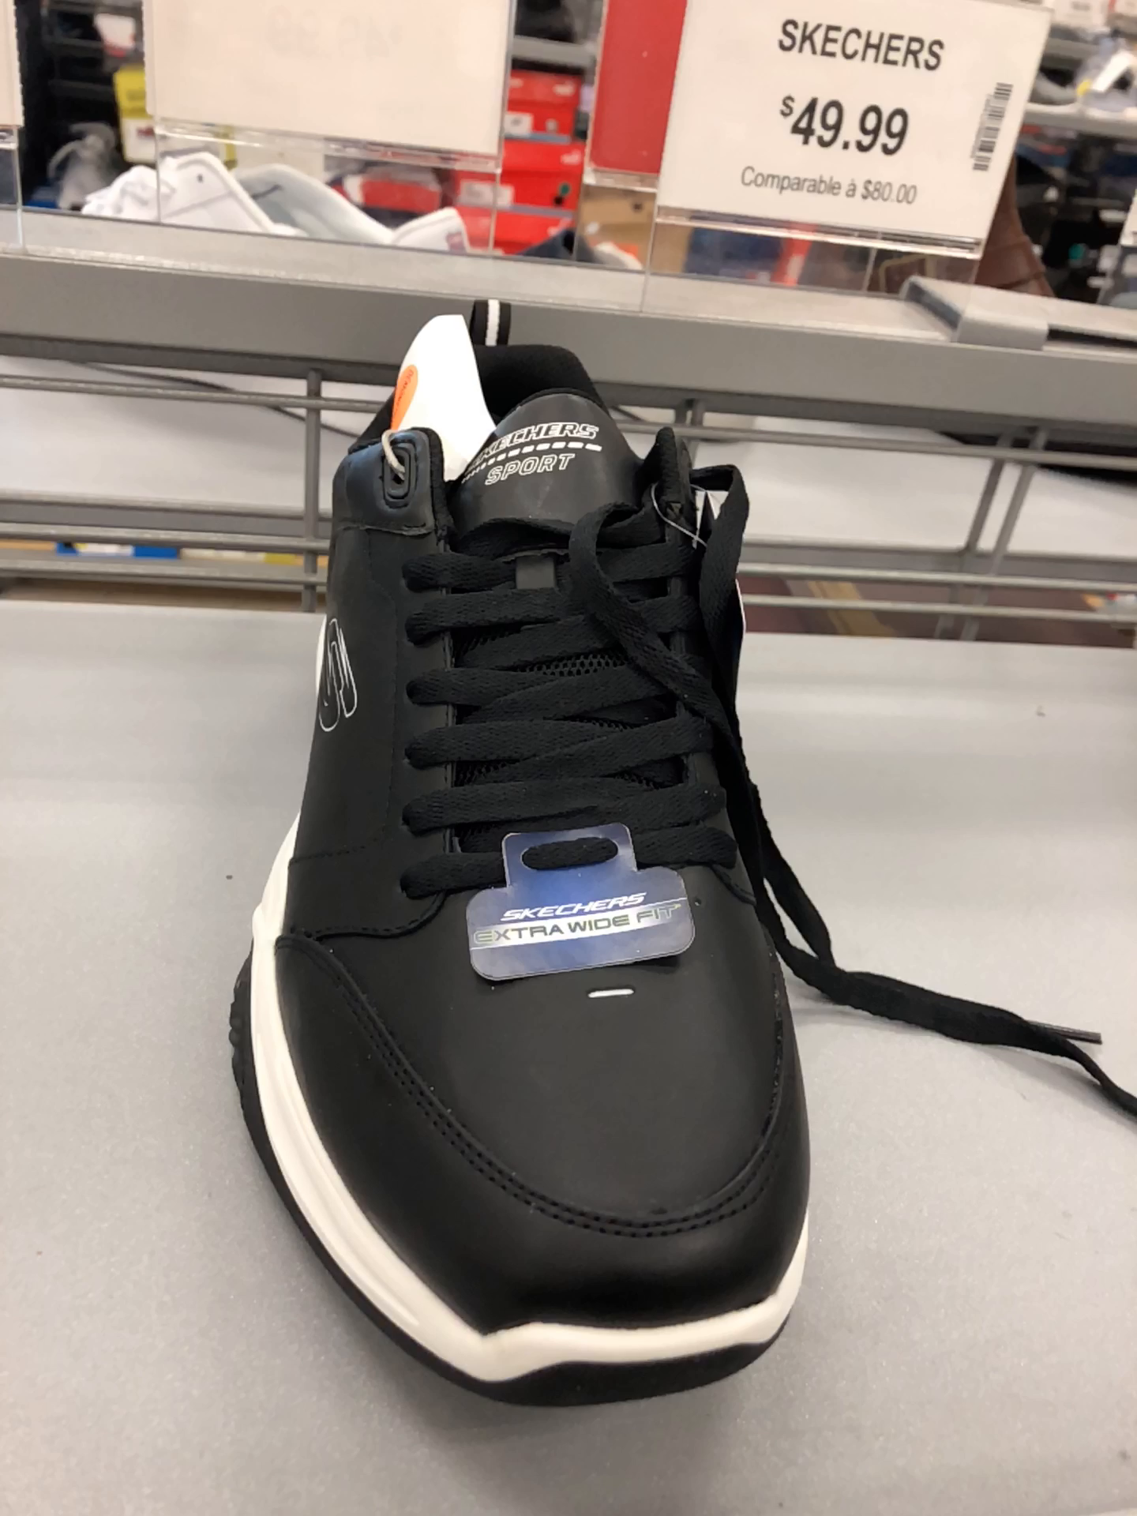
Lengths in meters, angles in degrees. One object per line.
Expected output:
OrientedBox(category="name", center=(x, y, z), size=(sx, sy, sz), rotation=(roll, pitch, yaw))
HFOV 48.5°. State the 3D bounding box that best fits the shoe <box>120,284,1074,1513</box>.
OrientedBox(category="shoe", center=(-0.026, -0.016, 0.339), size=(0.130, 0.109, 0.353), rotation=(2, 35, -12))
